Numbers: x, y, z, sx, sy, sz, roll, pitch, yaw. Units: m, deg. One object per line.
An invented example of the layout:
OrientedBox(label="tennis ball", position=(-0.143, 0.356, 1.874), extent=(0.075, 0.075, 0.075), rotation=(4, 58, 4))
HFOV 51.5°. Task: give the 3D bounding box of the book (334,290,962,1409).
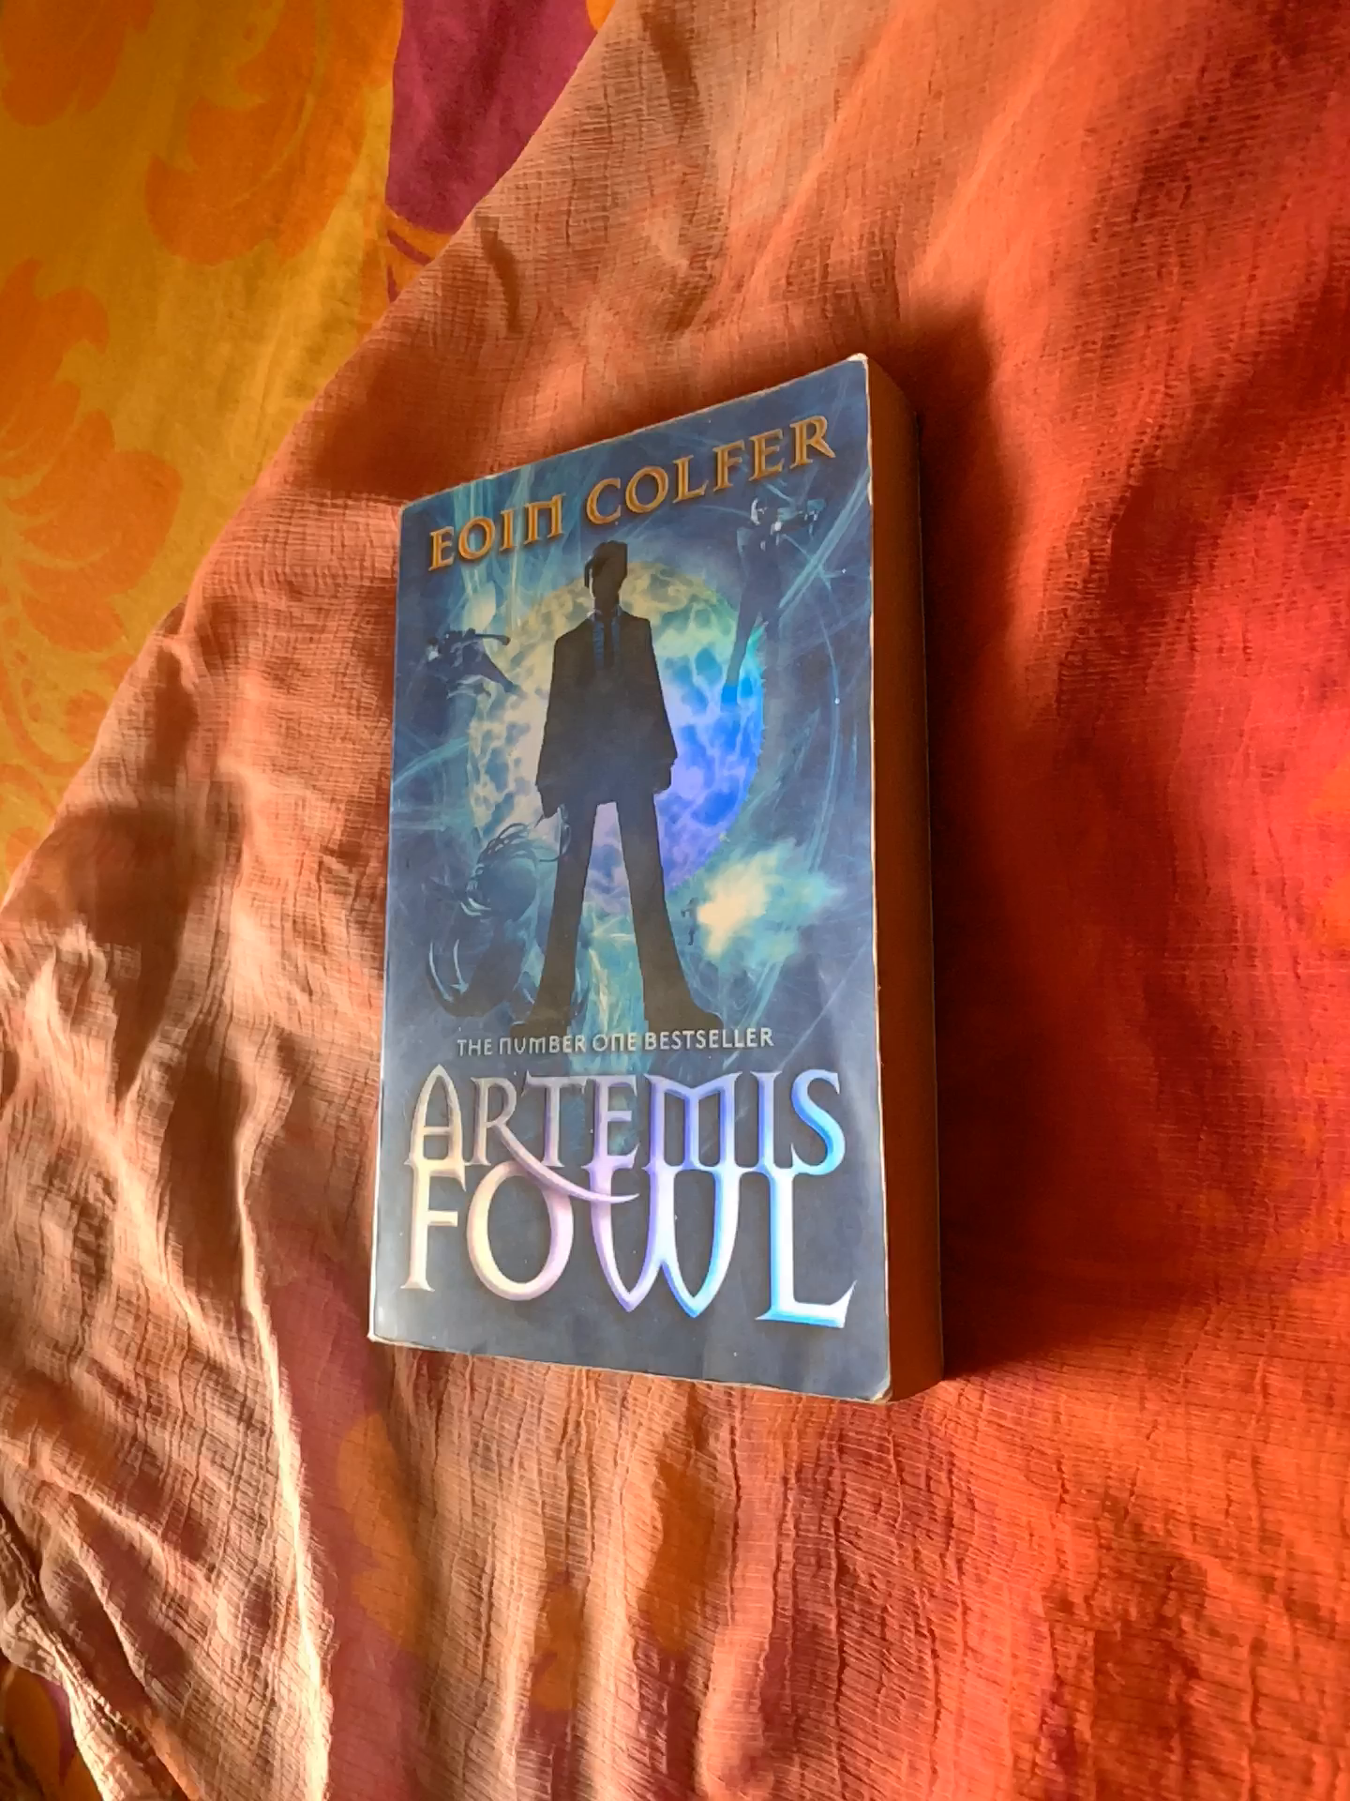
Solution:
OrientedBox(label="book", position=(-0.012, -0.007, 0.285), extent=(0.131, 0.030, 0.190), rotation=(-5, 82, 35))
